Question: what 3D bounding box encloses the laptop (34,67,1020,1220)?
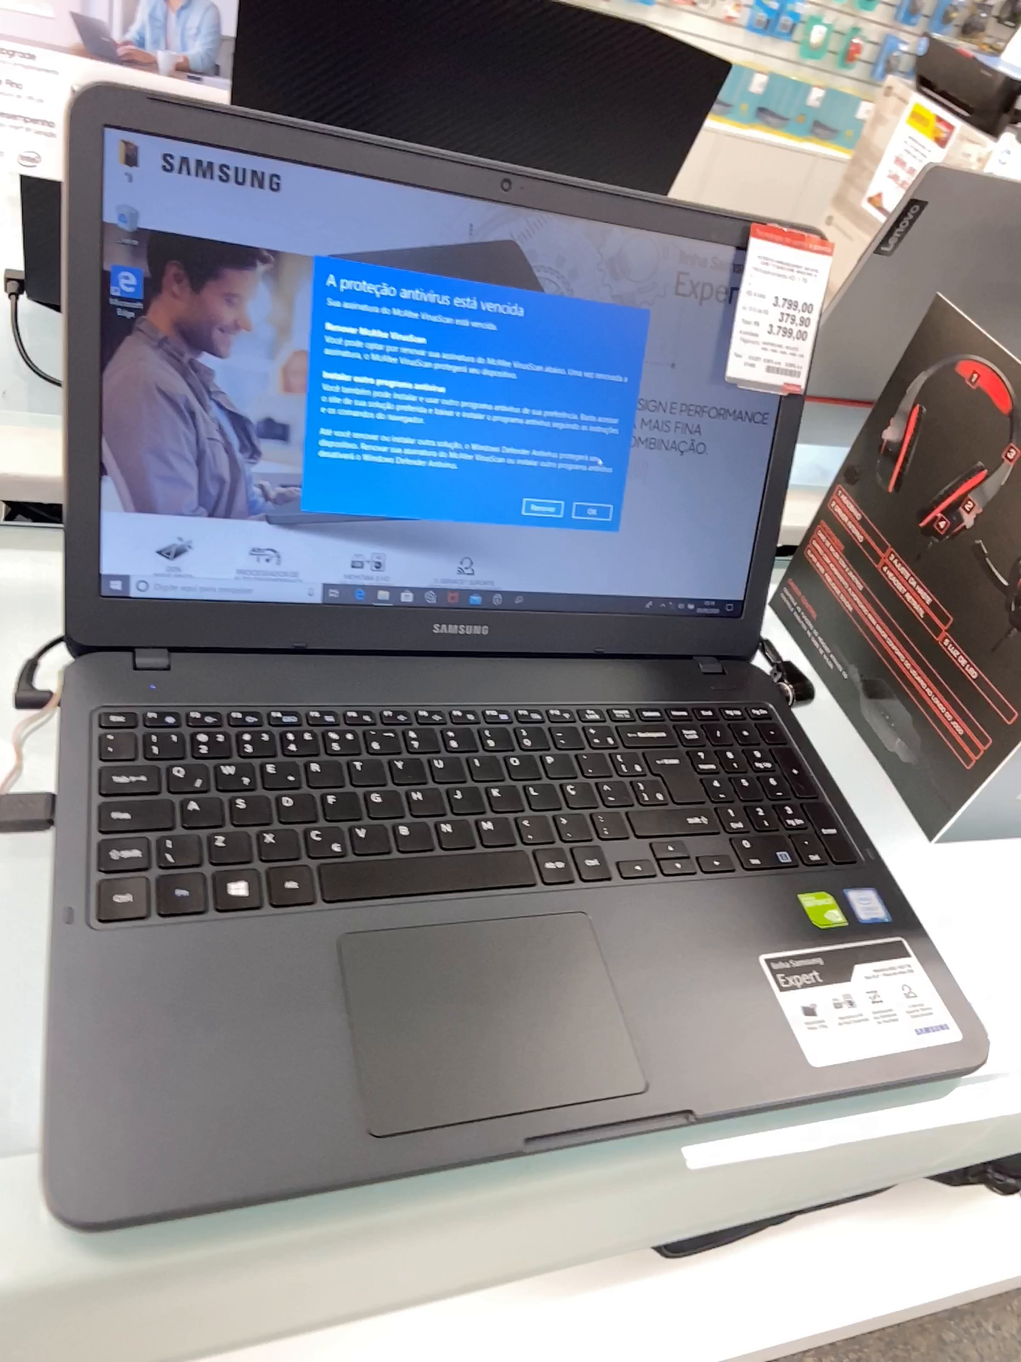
[{"bbox_3d":[0.012,-0.043,0.444,0.371,0.207,0.372,0,44,-23],"label":"laptop"}]
